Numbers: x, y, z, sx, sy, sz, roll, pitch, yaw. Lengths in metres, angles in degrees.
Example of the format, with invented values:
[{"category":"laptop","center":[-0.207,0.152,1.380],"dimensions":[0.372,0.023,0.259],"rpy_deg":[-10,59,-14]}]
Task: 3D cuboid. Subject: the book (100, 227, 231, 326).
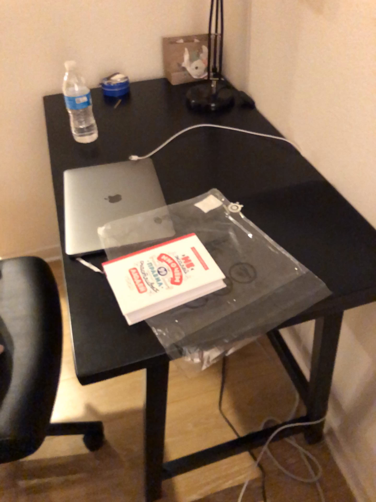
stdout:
[{"category":"book","center":[-0.042,0.037,0.740],"dimensions":[0.190,0.030,0.141],"rpy_deg":[-20,46,-17]}]
